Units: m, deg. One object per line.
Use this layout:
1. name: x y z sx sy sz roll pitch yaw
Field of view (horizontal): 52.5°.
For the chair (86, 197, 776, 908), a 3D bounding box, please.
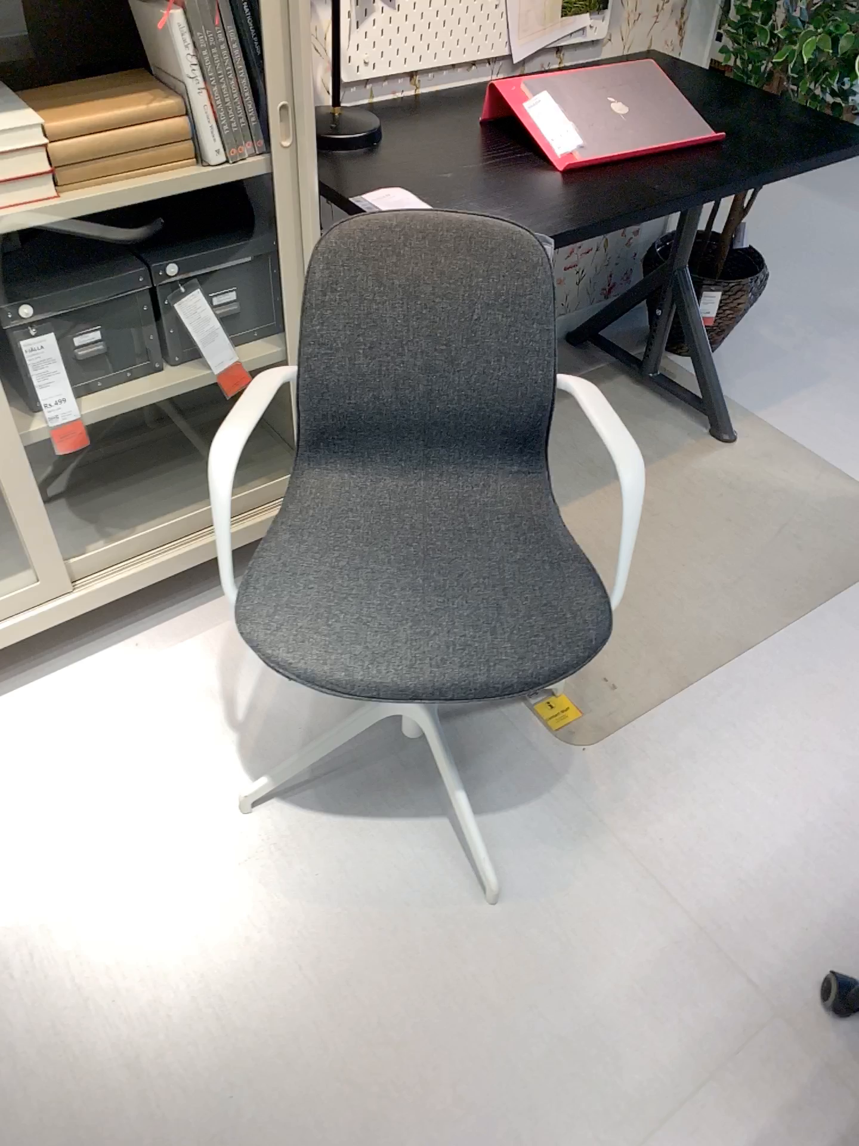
1. chair: -0.023 0.001 1.305 0.620 0.837 0.642 0 45 -4
